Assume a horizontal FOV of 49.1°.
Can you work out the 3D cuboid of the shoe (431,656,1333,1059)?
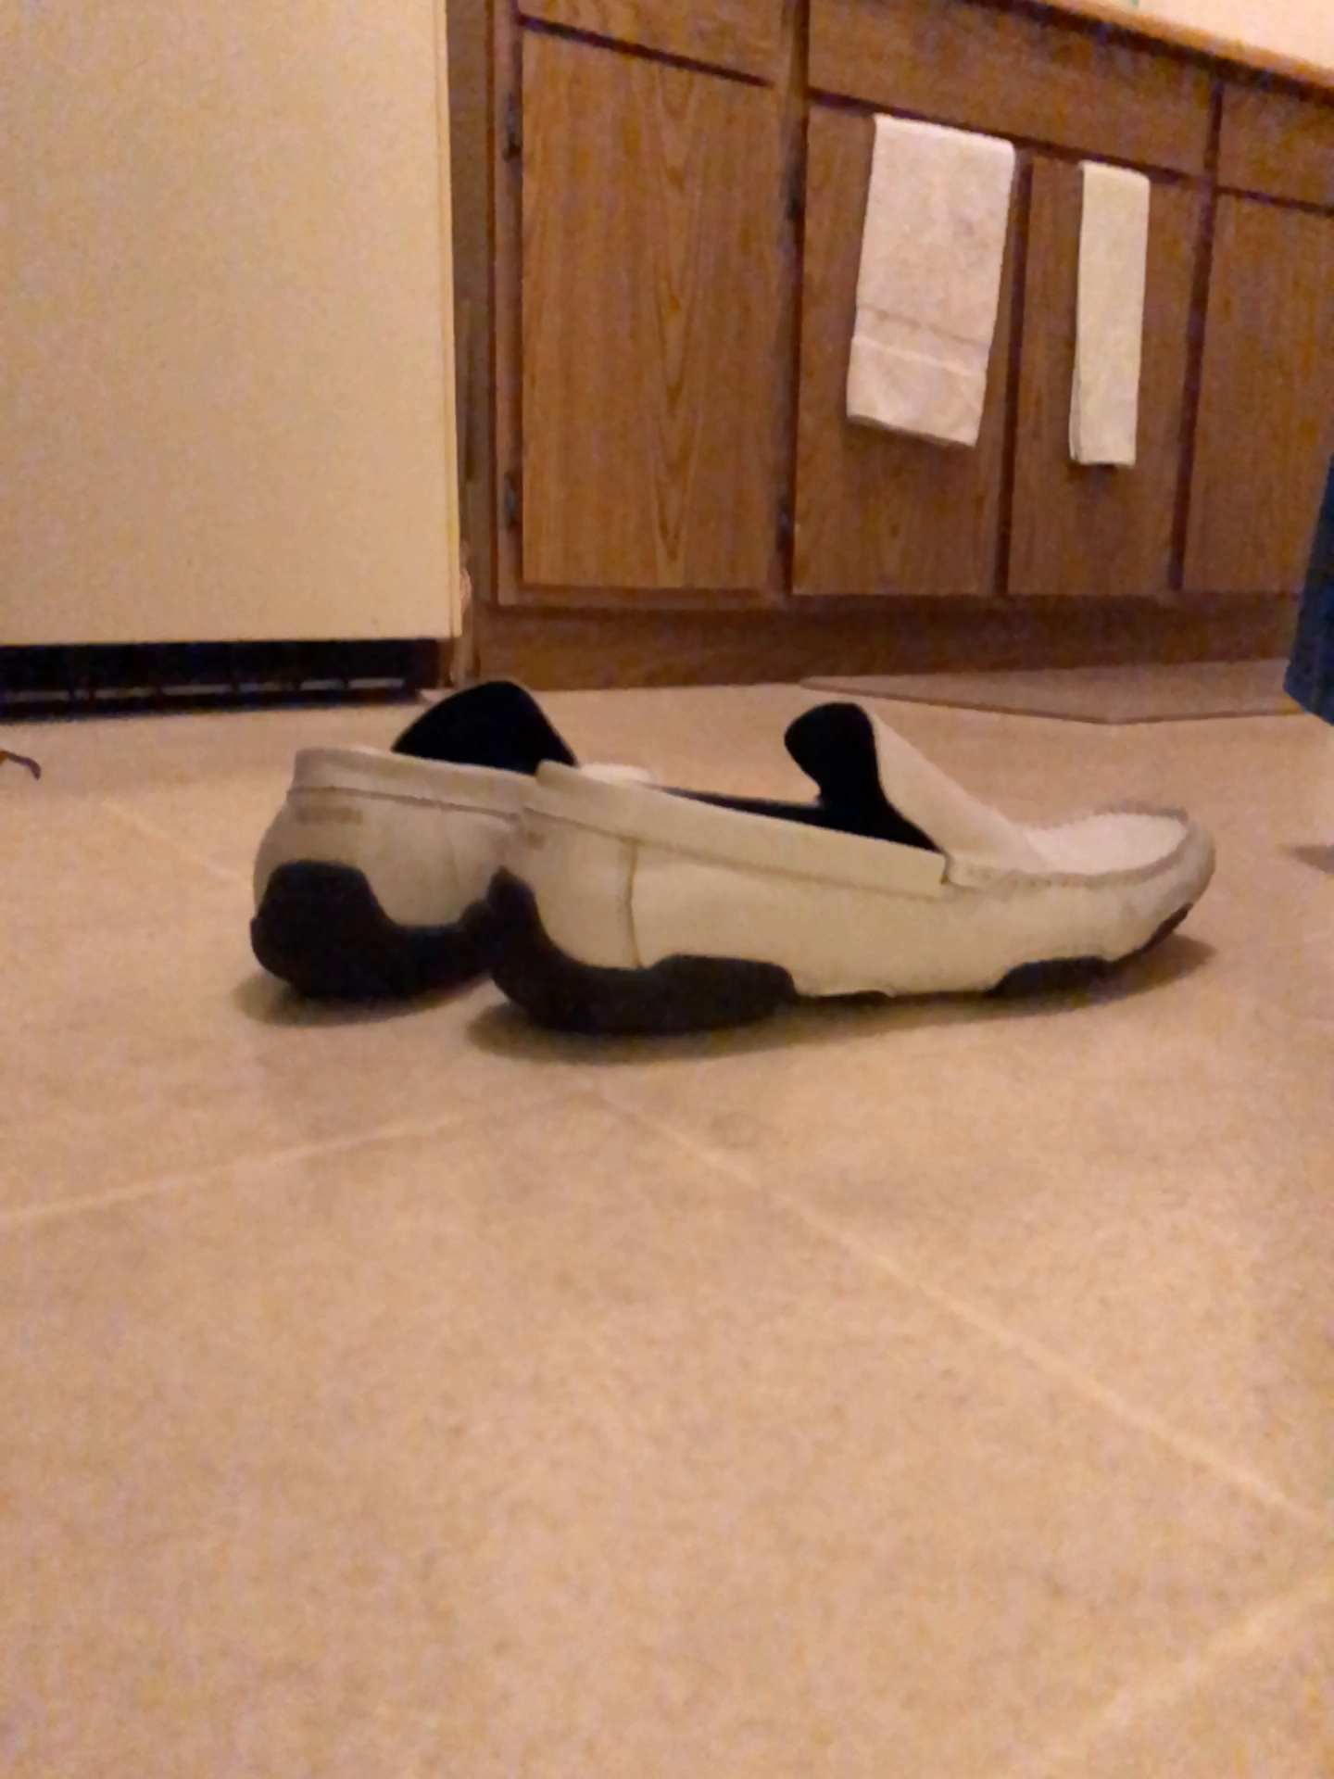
[{"bbox_3d":[0.078,-0.025,0.496,0.289,0.097,0.111,-5,13,-25],"label":"shoe"}]

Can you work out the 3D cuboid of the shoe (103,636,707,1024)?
[{"bbox_3d":[-0.075,-0.043,0.576,0.110,0.097,0.307,4,13,15],"label":"shoe"}]
